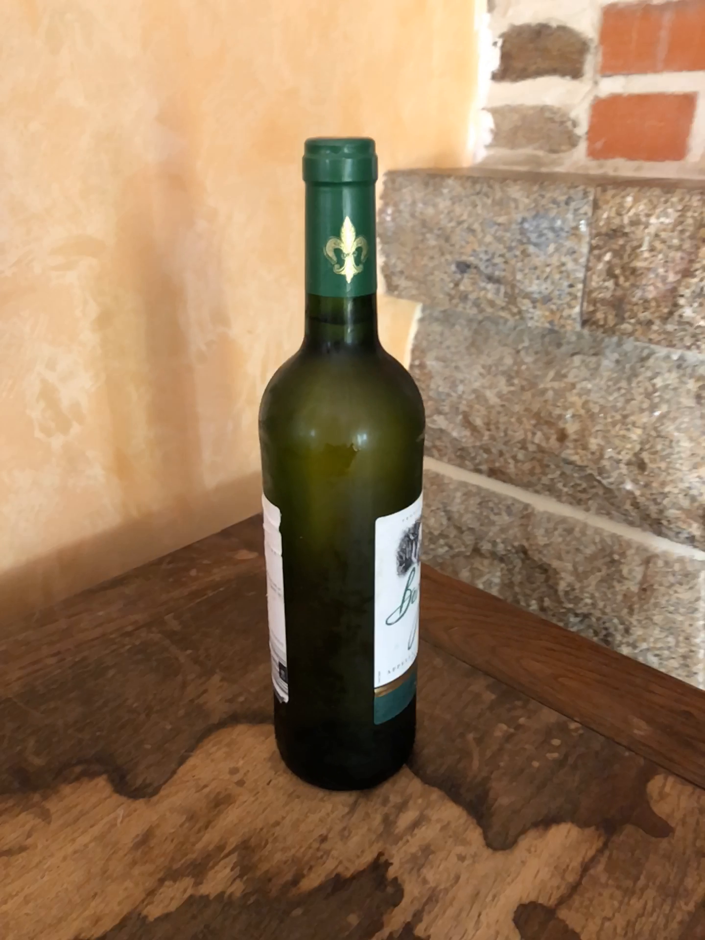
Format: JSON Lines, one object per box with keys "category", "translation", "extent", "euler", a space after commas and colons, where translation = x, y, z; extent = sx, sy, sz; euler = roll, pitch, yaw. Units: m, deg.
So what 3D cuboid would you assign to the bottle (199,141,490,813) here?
{"category": "bottle", "translation": [0.001, 0.004, 0.337], "extent": [0.090, 0.269, 0.091], "euler": [1, 22, 0]}
